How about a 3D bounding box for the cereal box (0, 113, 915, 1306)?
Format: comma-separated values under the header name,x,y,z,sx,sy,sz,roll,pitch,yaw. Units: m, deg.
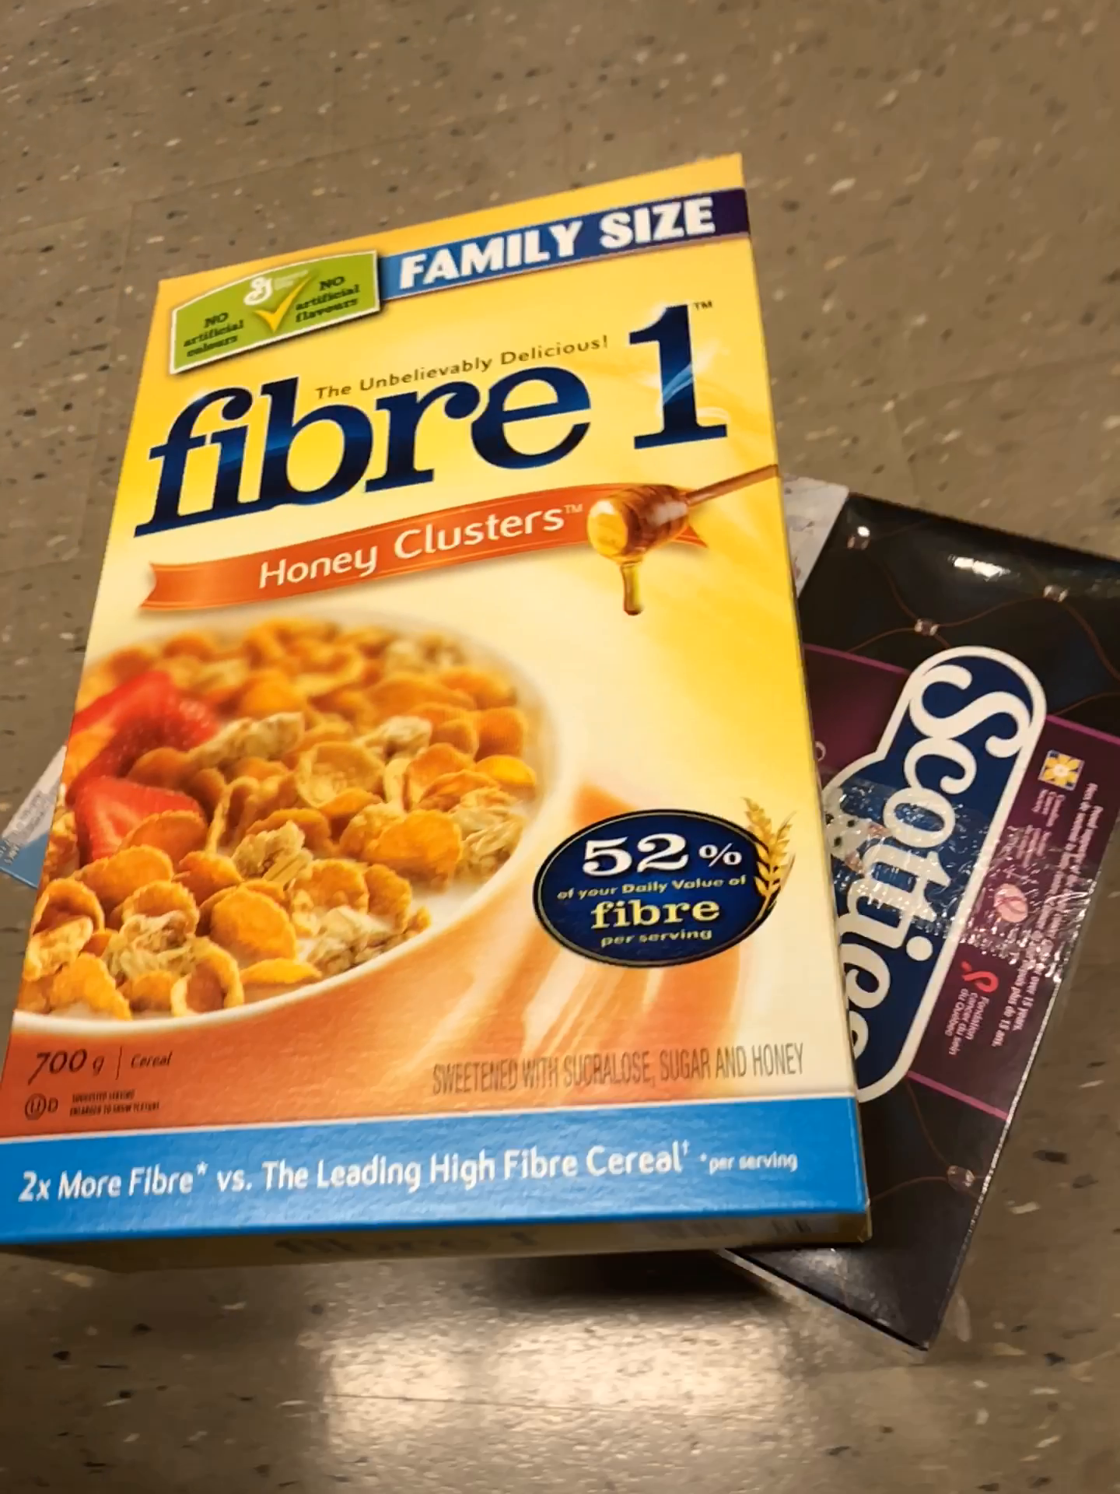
name,x,y,z,sx,sy,sz,roll,pitch,yaw
cereal box,-0.027,-0.023,0.355,0.200,0.080,0.320,-7,60,11
